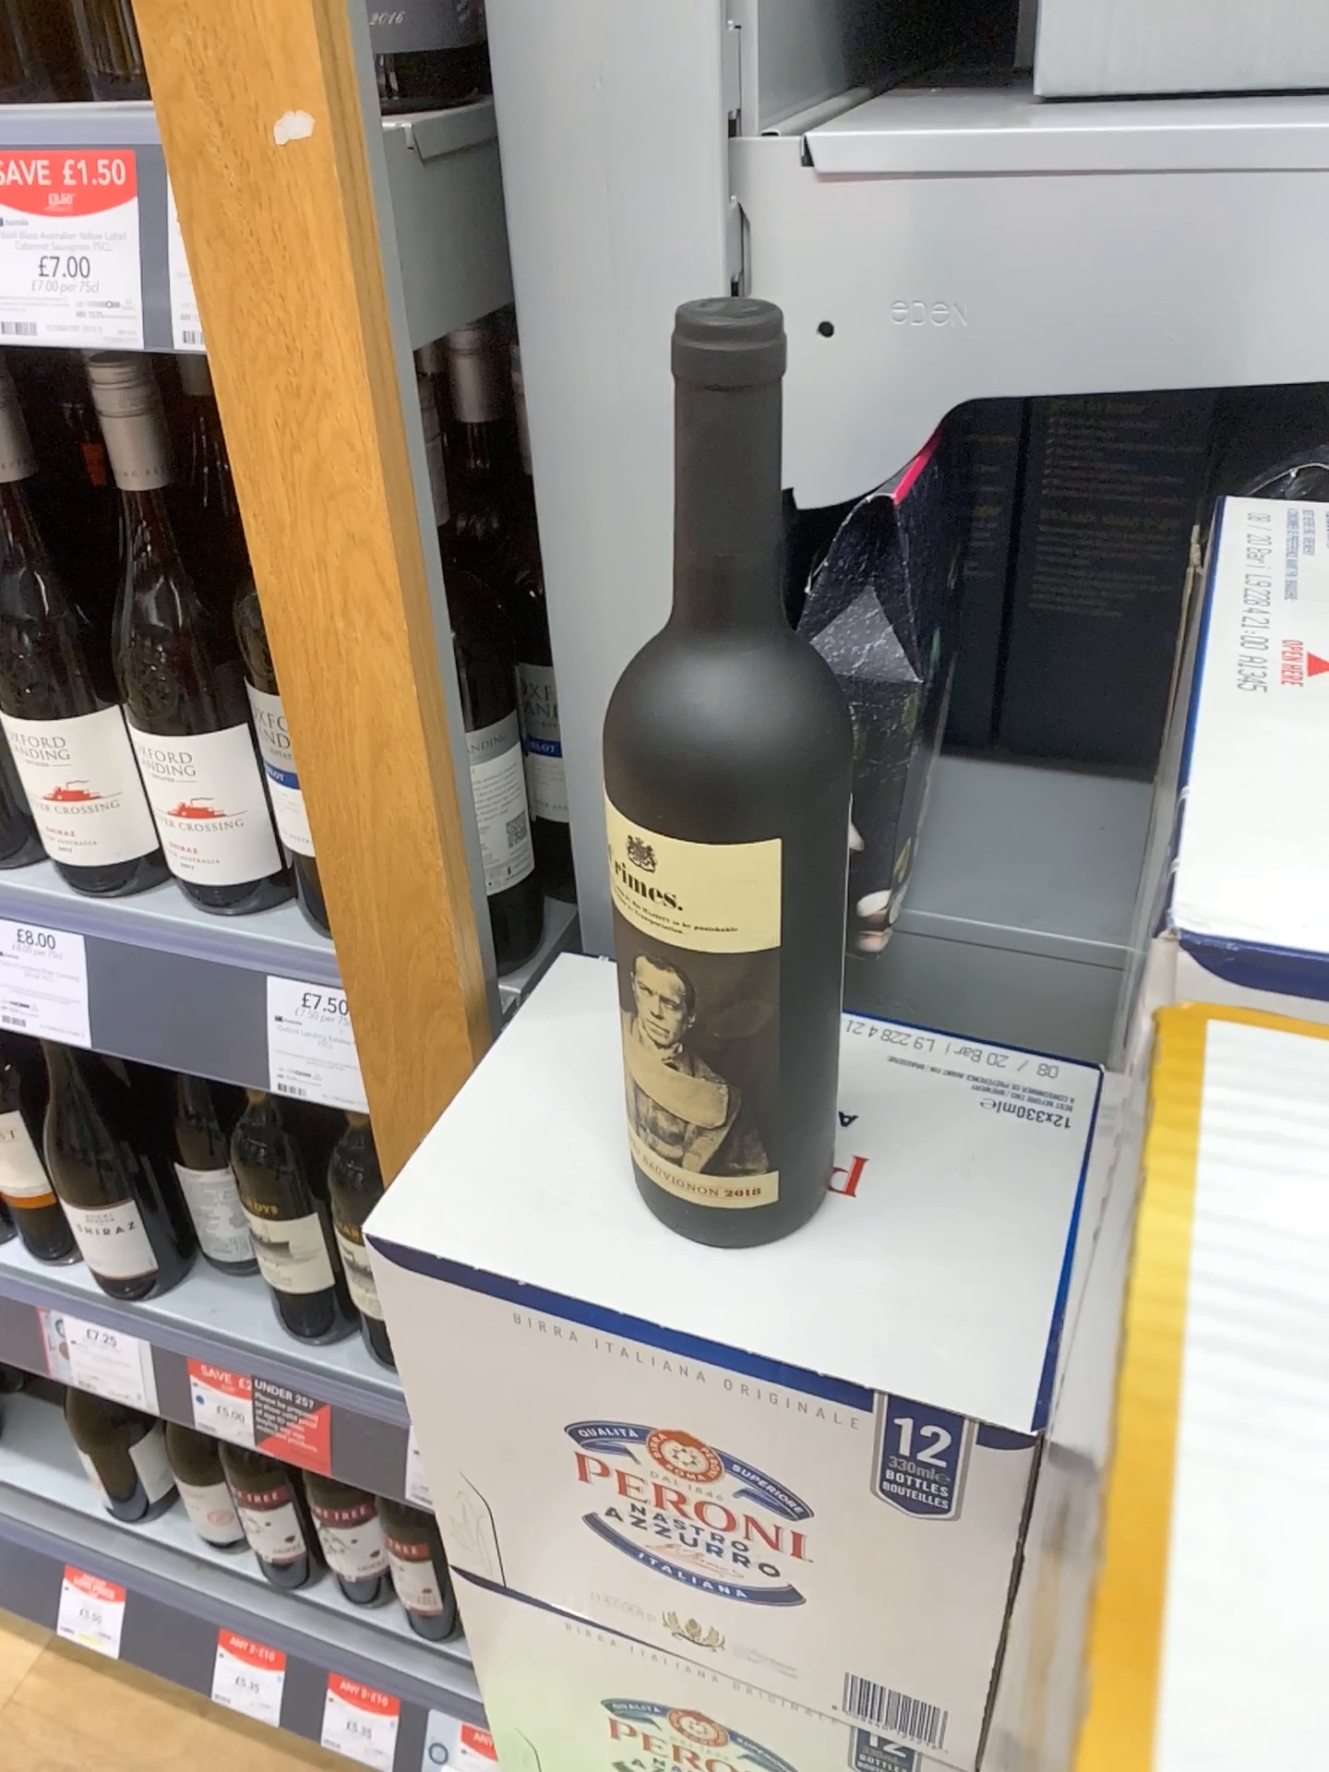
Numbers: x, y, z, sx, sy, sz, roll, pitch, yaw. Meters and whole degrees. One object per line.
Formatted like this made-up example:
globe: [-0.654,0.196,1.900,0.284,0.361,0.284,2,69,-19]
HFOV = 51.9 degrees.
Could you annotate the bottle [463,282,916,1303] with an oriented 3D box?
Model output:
bottle: [0.013,-0.014,0.407,0.078,0.288,0.075,-2,34,1]
